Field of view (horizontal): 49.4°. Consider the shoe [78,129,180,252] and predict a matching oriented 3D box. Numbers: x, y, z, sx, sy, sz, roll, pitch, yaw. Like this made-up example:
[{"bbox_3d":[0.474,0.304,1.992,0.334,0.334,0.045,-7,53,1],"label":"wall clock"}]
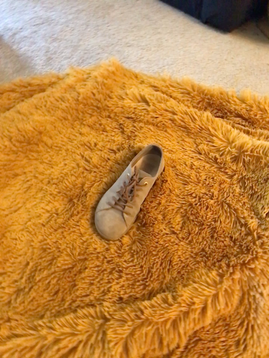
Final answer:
[{"bbox_3d":[-0.005,0.017,0.645,0.100,0.070,0.259,27,60,12],"label":"shoe"}]
